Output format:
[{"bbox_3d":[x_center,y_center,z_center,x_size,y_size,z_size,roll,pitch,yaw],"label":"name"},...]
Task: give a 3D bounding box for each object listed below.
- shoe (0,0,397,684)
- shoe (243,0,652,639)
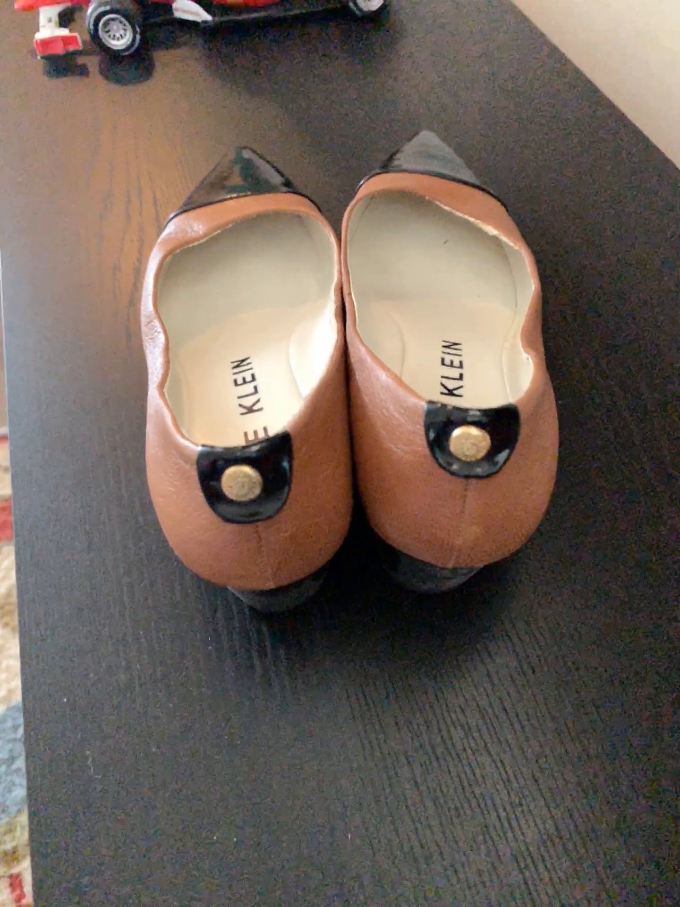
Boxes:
[{"bbox_3d":[-0.048,-0.062,0.274,0.092,0.099,0.262,-5,55,-4],"label":"shoe"},{"bbox_3d":[0.032,-0.074,0.268,0.092,0.079,0.262,3,55,2],"label":"shoe"}]
